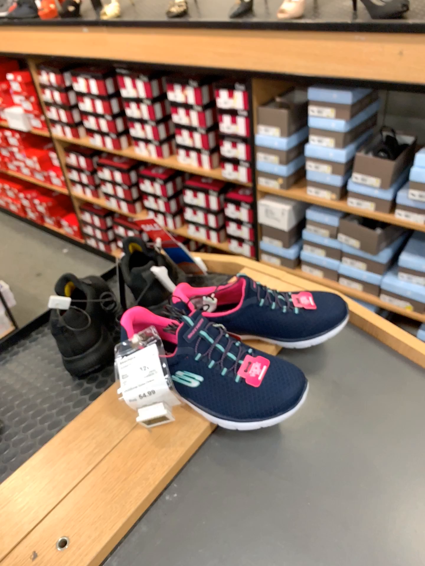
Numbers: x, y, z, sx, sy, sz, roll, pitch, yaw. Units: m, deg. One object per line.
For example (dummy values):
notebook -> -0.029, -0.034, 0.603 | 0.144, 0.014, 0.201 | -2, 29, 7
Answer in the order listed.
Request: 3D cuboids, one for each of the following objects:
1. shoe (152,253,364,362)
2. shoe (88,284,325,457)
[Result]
shoe -> 0.059, 0.034, 0.610 | 0.260, 0.089, 0.101 | -4, 38, 4
shoe -> -0.004, 0.095, 0.535 | 0.250, 0.099, 0.110 | 11, 41, 22
